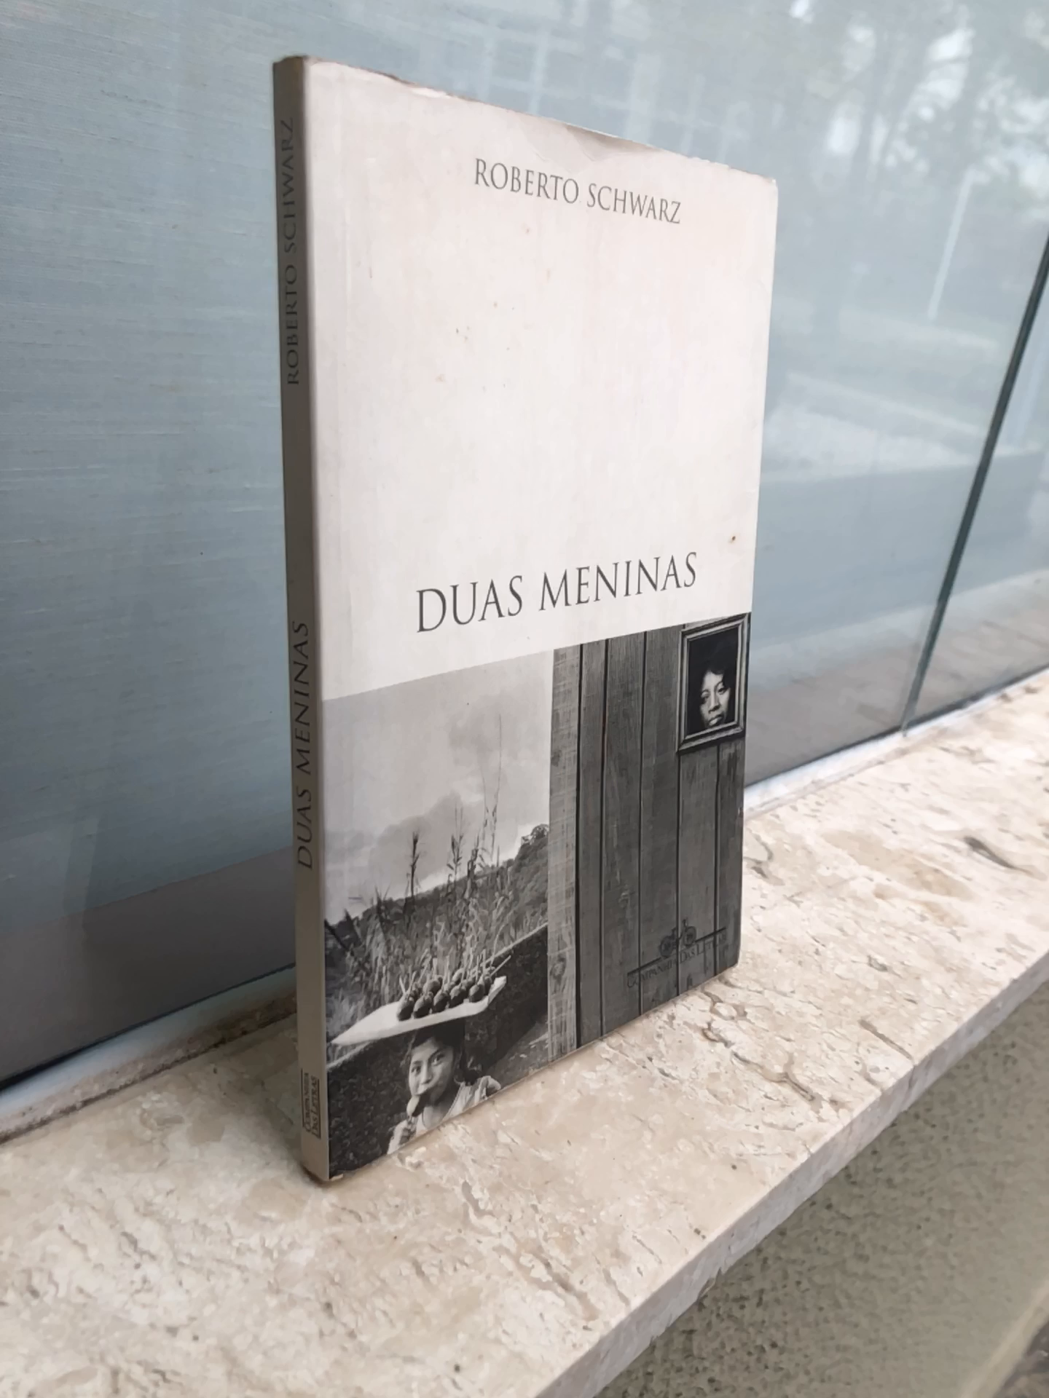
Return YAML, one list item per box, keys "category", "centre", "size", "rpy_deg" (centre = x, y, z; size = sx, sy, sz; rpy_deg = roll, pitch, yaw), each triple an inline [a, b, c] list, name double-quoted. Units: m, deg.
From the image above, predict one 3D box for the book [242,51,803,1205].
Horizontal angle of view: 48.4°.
- category: "book"
  centre: [0.008, -0.013, 0.256]
  size: [0.139, 0.205, 0.016]
  rpy_deg: [-13, 20, -43]
